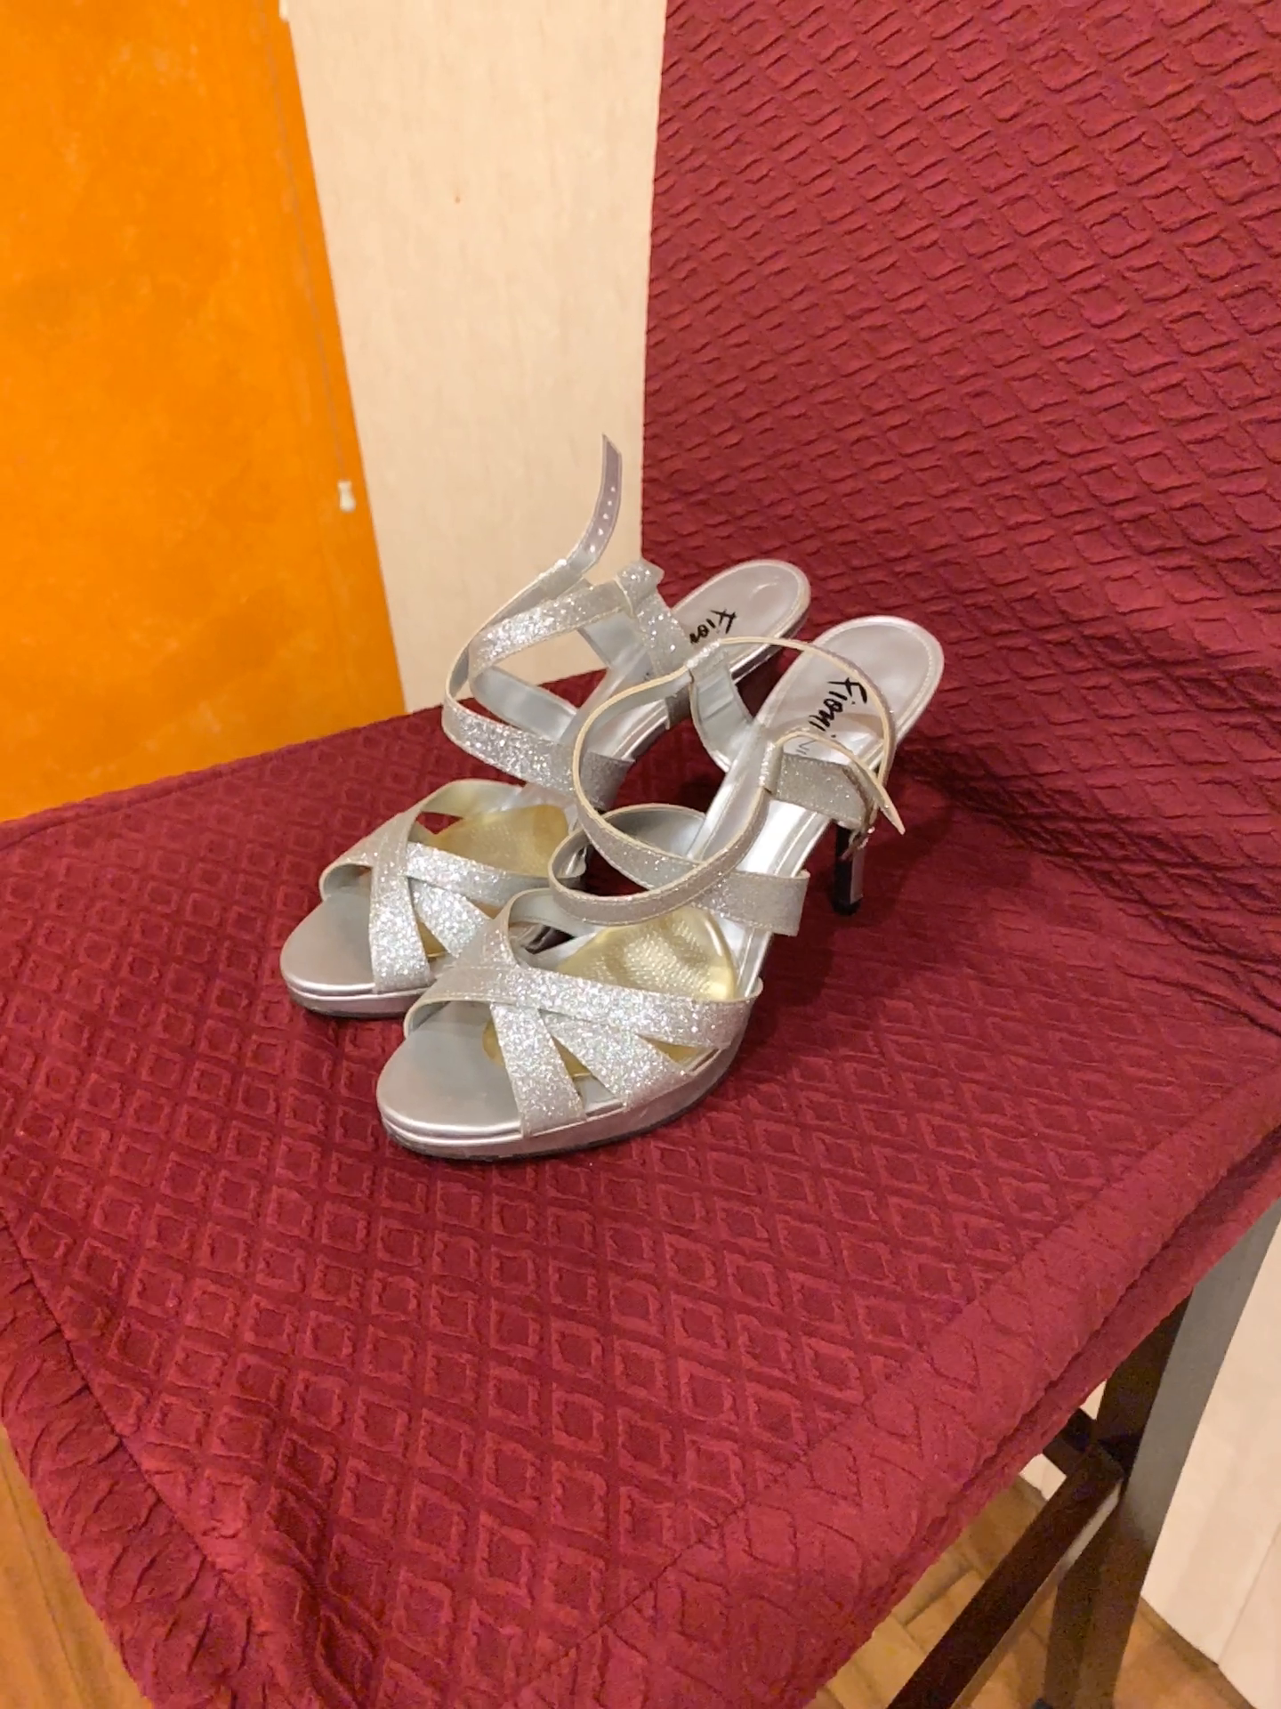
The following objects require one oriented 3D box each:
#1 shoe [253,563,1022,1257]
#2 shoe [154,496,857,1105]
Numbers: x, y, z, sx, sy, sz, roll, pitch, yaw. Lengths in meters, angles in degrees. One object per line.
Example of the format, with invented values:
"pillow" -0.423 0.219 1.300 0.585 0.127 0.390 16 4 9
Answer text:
"shoe" 0.007 0.005 0.439 0.220 0.119 0.100 -26 41 -28
"shoe" -0.037 -0.033 0.495 0.230 0.119 0.100 -28 42 -30
